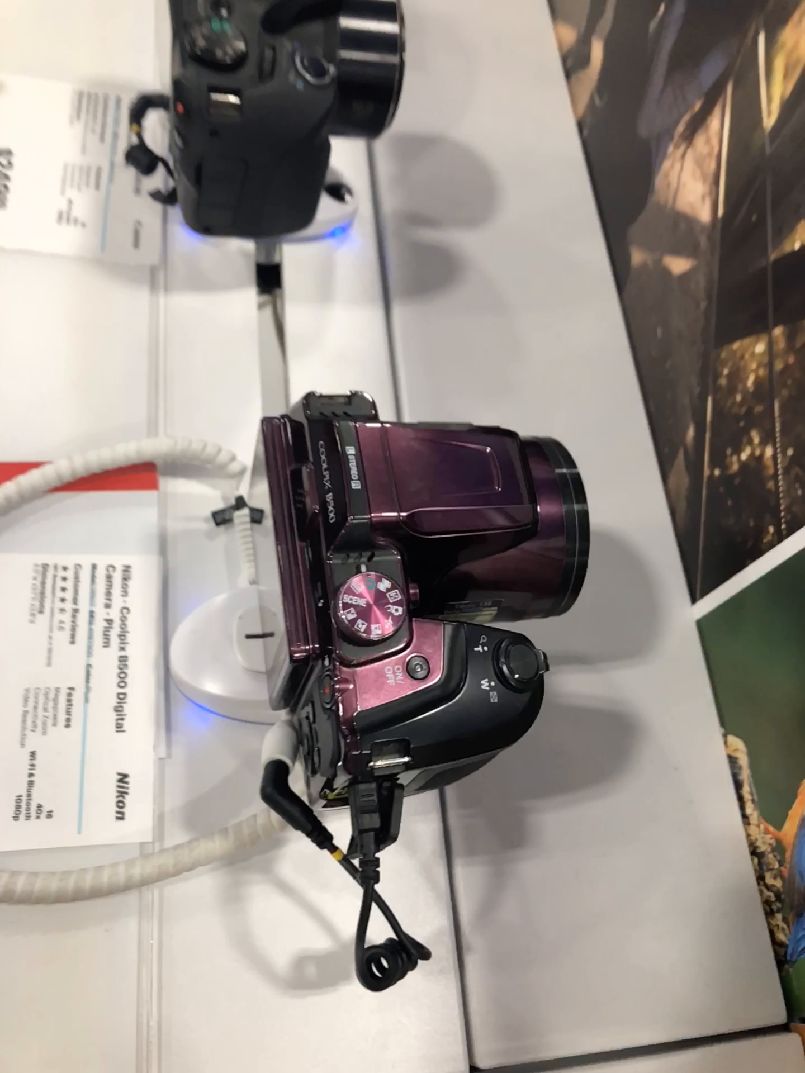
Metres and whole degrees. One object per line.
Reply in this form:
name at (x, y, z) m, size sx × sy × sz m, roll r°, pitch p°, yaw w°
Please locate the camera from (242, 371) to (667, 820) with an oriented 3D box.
camera at (0.008, 0.016, 0.282) m, size 0.100 × 0.060 × 0.120 m, roll -3°, pitch 66°, yaw -16°
